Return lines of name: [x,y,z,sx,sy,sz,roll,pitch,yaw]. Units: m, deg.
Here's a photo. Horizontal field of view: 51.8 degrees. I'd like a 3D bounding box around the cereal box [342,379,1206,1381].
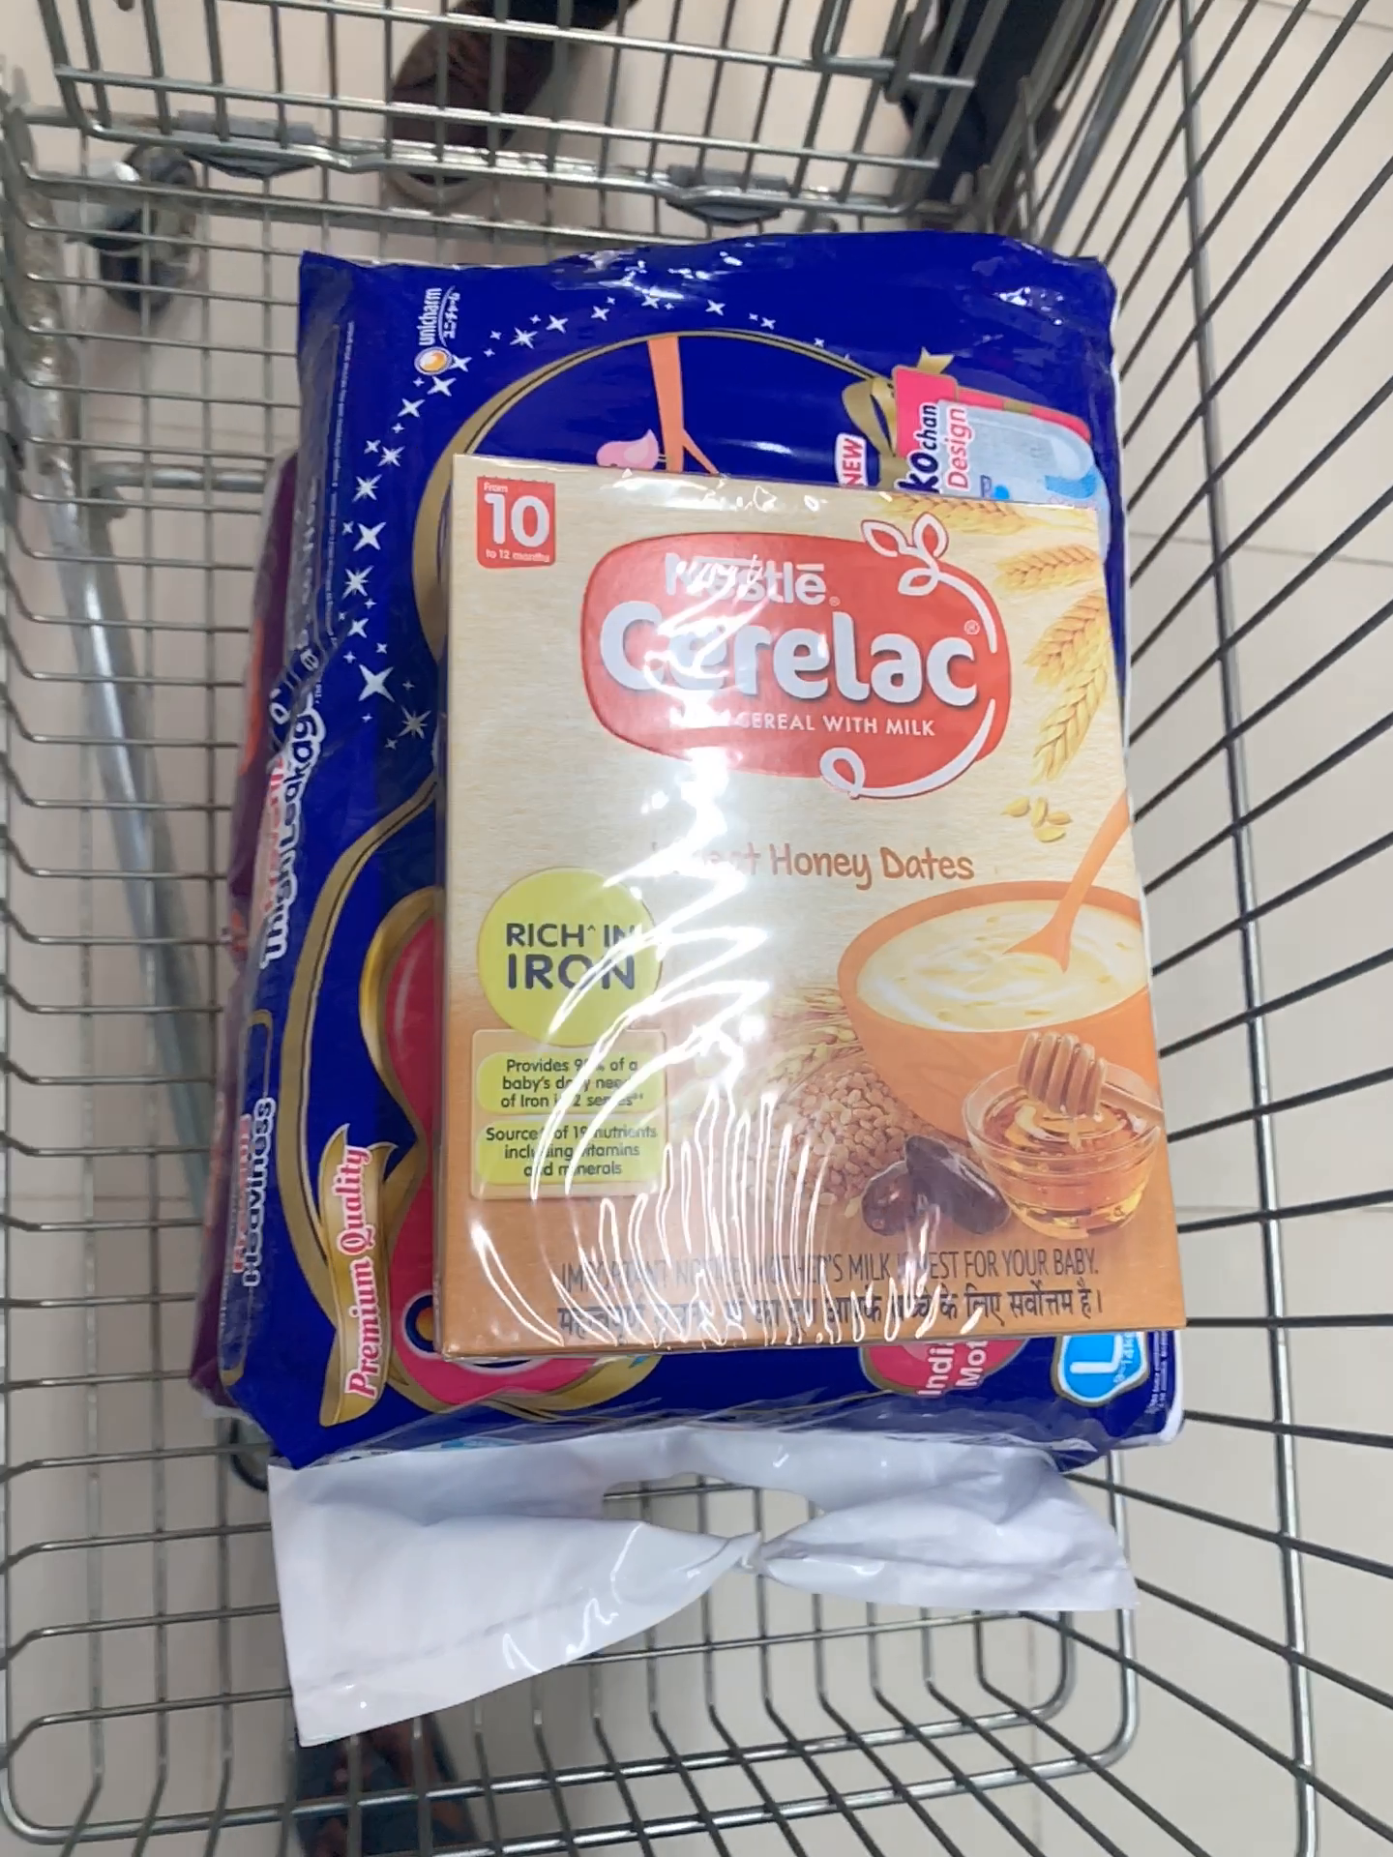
cereal box: [0.009,-0.009,0.308,0.160,0.060,0.190,1,76,-12]
